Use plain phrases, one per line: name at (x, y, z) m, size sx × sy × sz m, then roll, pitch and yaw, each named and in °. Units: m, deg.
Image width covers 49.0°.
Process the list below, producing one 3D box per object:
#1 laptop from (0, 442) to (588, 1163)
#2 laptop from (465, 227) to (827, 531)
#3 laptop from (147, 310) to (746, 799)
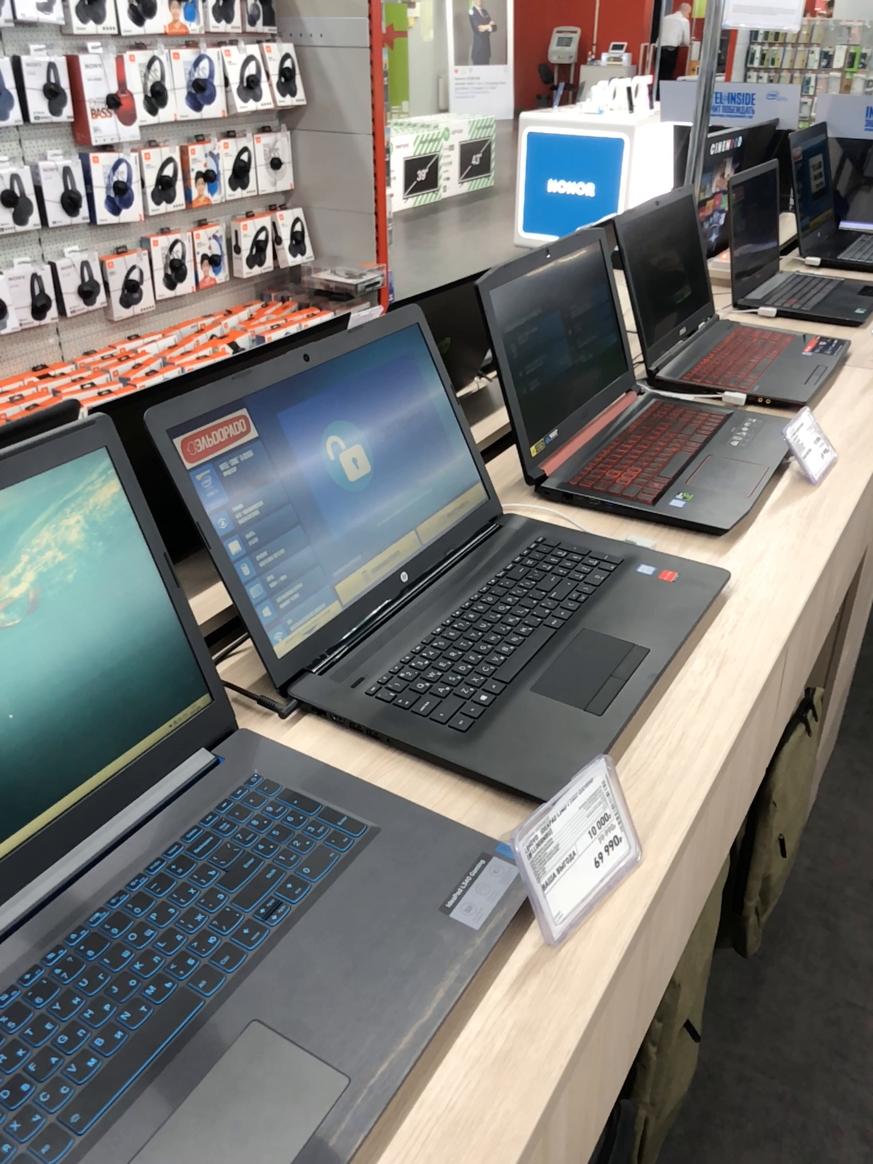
laptop at (-0.182, 0.114, 0.503) m, size 0.372 × 0.226 × 0.382 m, roll 15°, pitch 30°, yaw 23°
laptop at (0.280, -0.283, 1.231) m, size 0.302 × 0.224 × 0.404 m, roll 17°, pitch 34°, yaw 22°
laptop at (0.030, -0.070, 0.866) m, size 0.373 × 0.213 × 0.389 m, roll 17°, pitch 33°, yaw 25°
